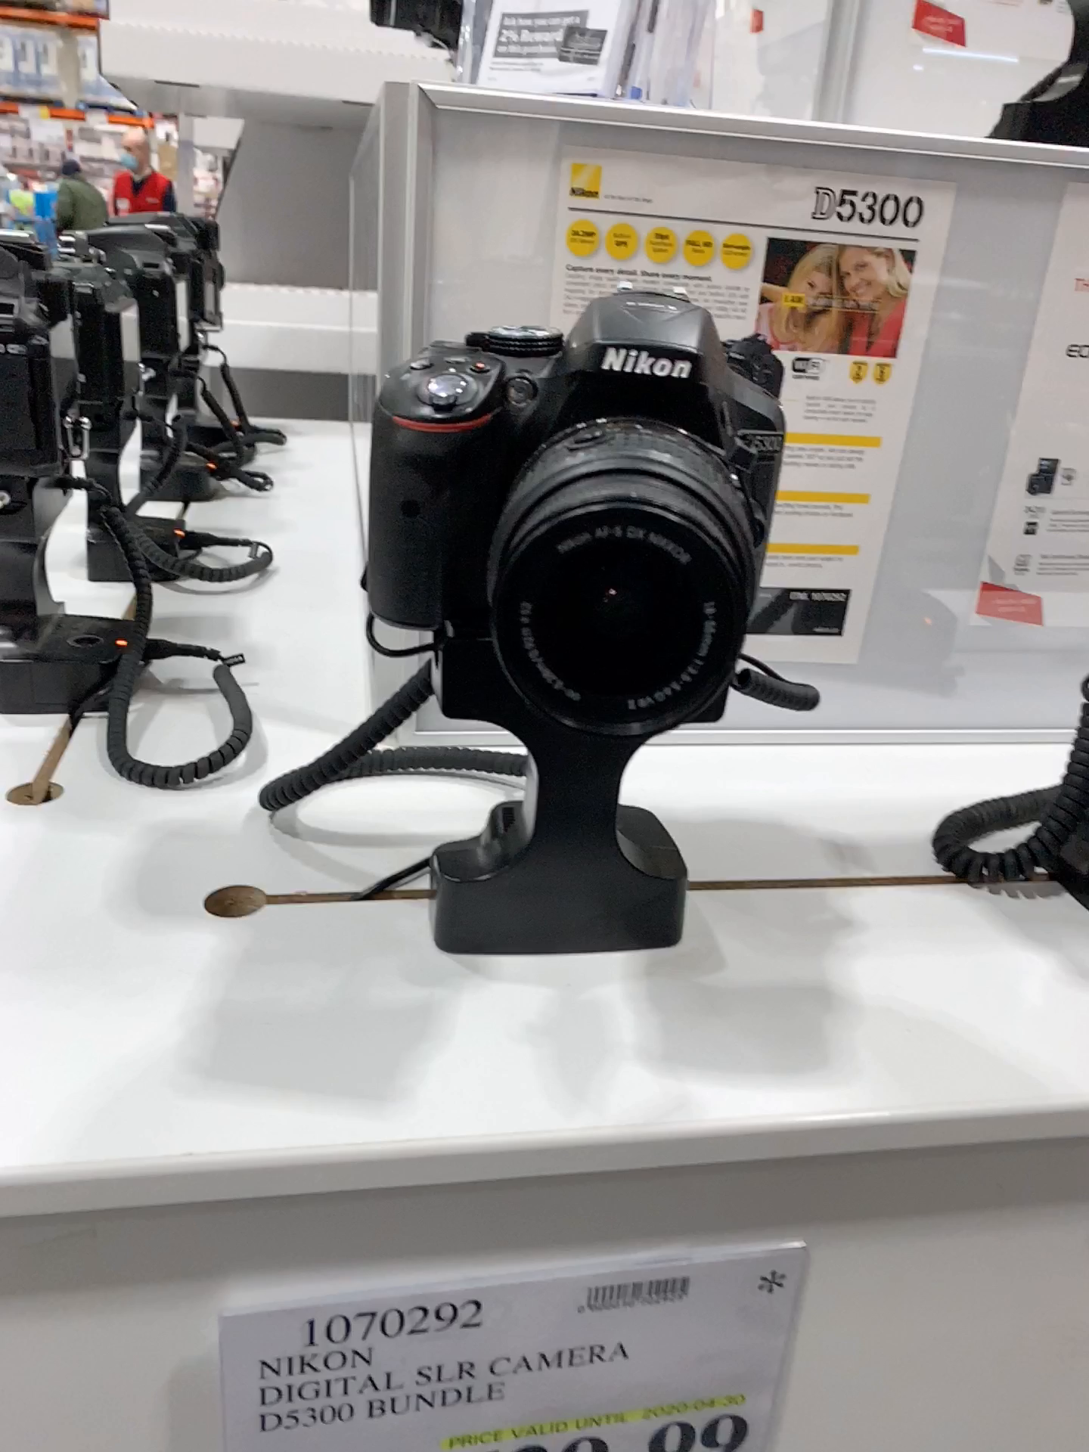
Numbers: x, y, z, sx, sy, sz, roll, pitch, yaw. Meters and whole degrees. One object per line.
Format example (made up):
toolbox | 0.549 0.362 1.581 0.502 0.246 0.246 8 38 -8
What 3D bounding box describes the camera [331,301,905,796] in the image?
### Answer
camera | 0.014 -0.062 0.320 0.120 0.099 0.151 4 22 0
